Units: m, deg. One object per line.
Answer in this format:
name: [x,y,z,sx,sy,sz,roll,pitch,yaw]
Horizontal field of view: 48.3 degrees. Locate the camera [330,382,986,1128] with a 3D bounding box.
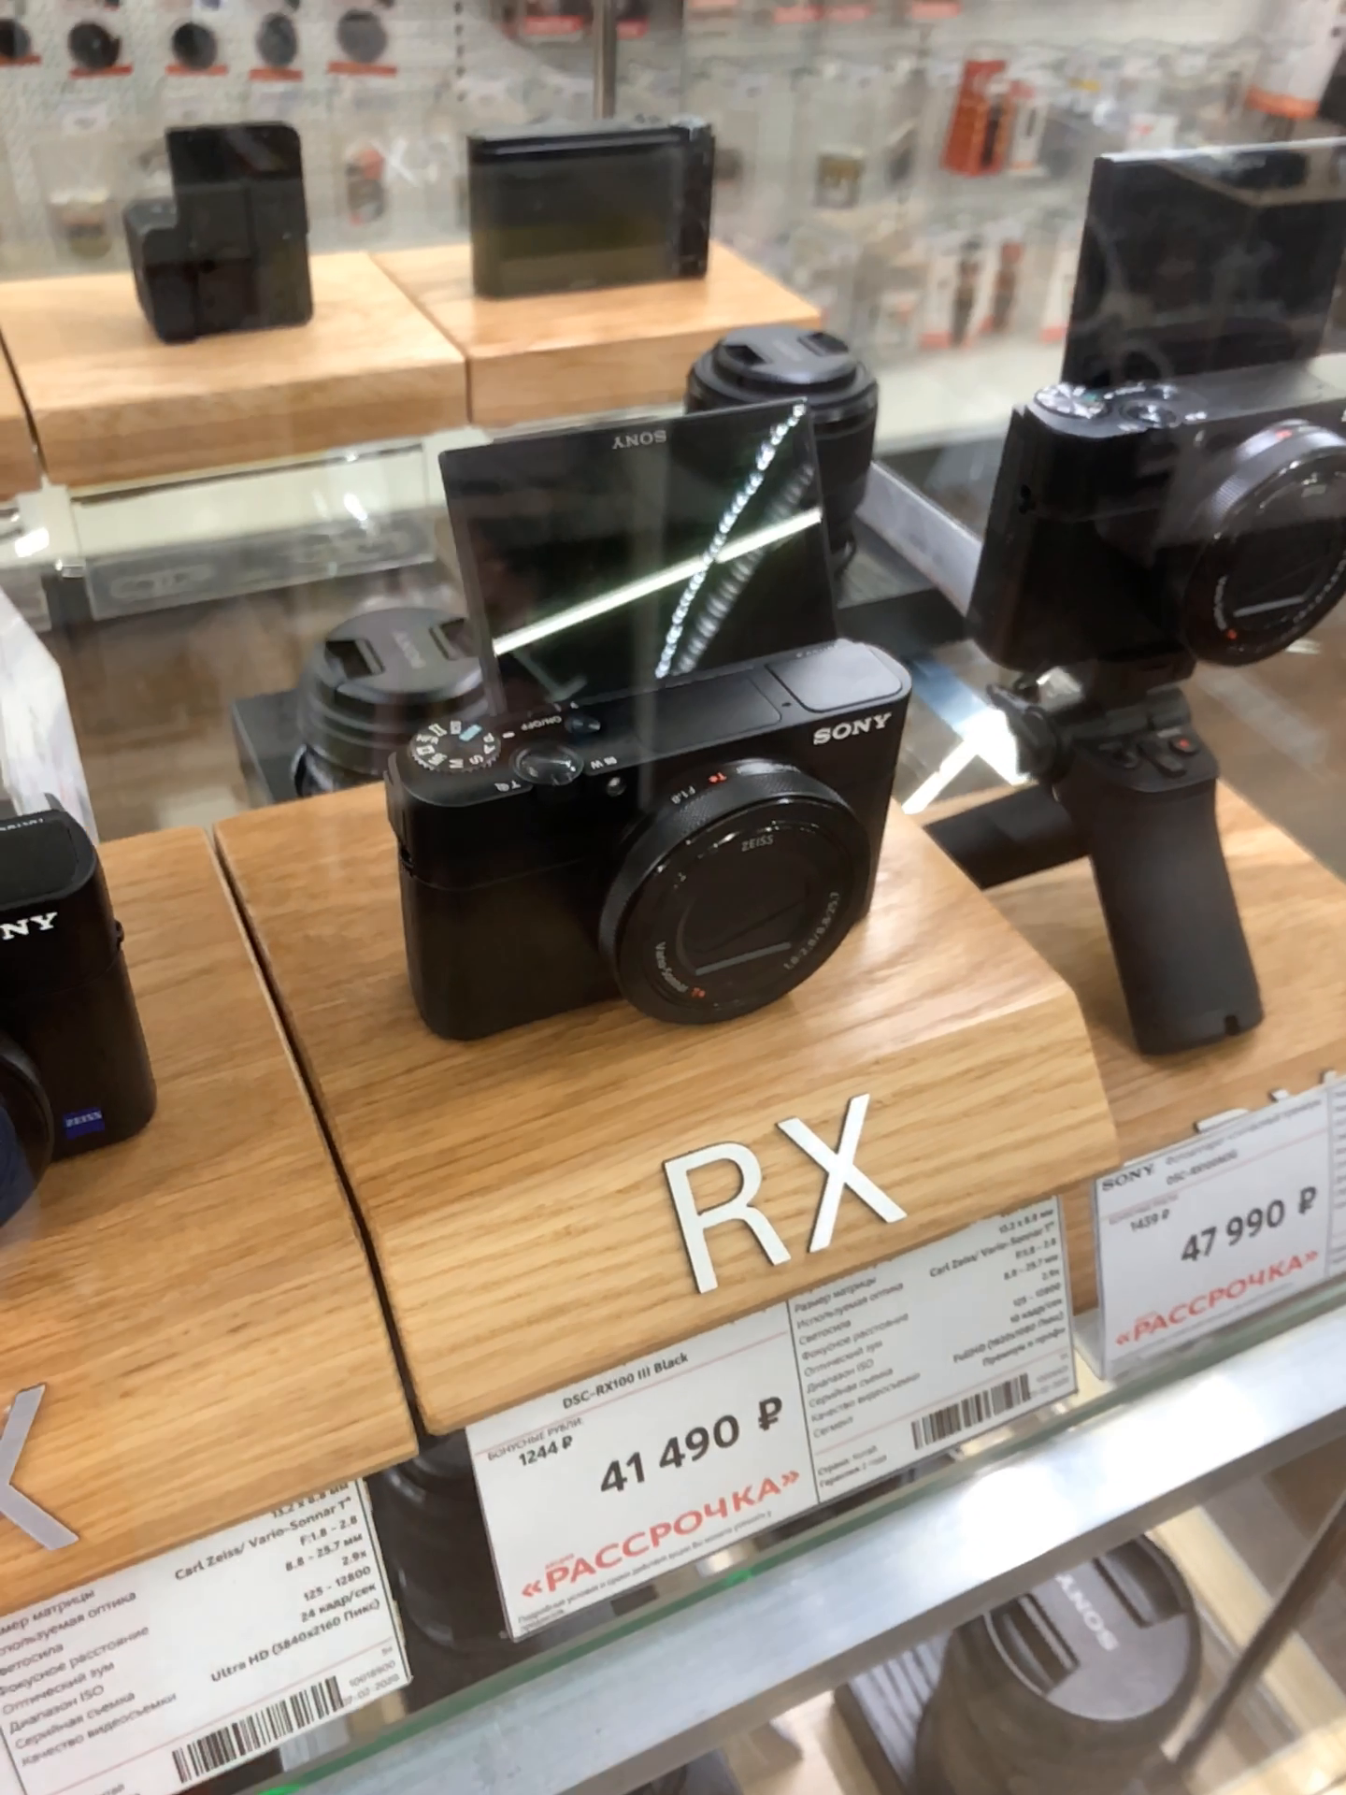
camera: [-0.006,-0.027,0.294,0.100,0.119,0.050,-15,43,-21]

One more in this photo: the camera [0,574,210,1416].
camera: [-0.142,0.008,0.245,0.101,0.067,0.097,-15,43,-21]
